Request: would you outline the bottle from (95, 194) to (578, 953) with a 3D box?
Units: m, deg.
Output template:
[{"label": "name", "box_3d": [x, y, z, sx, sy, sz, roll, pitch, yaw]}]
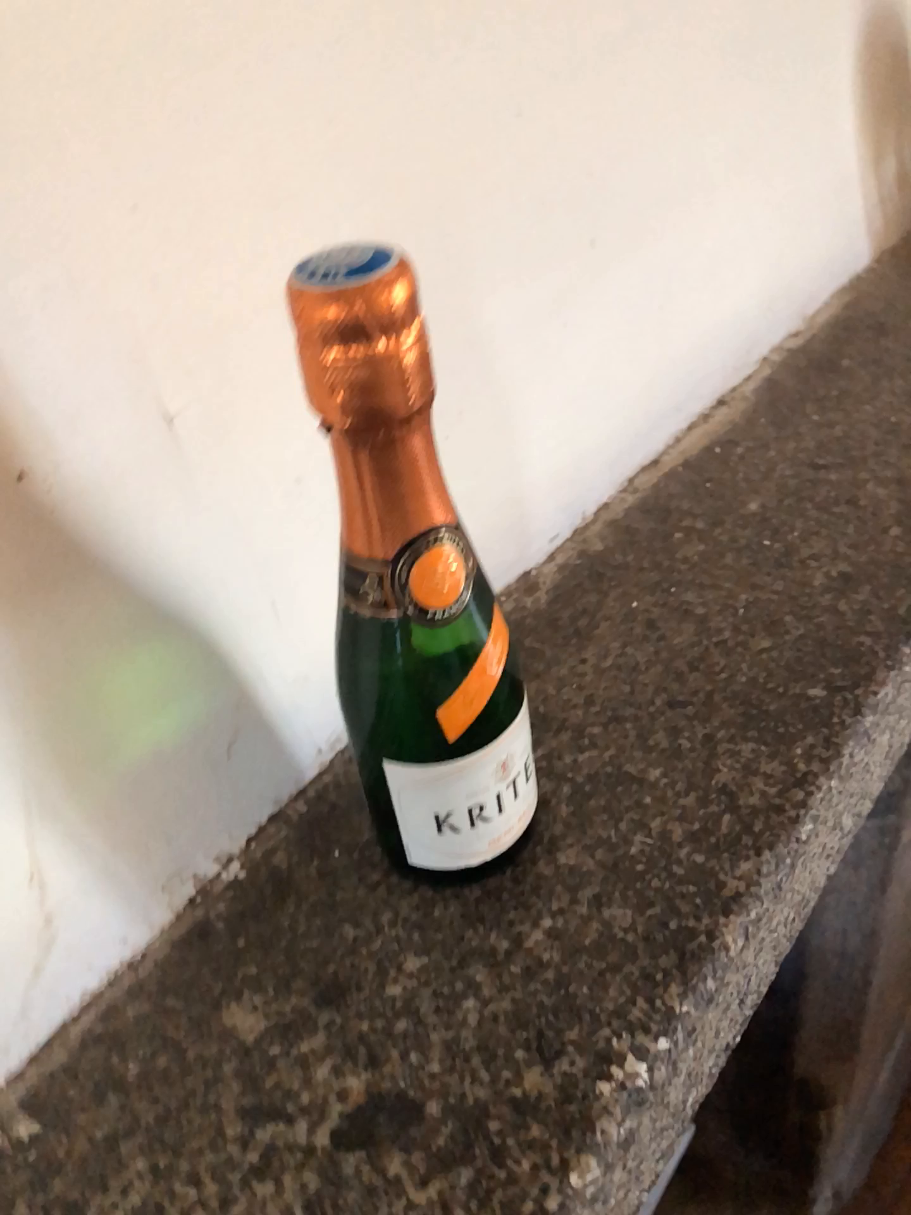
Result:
[{"label": "bottle", "box_3d": [-0.019, 0.000, 0.281, 0.070, 0.199, 0.060, 24, 50, 35]}]
